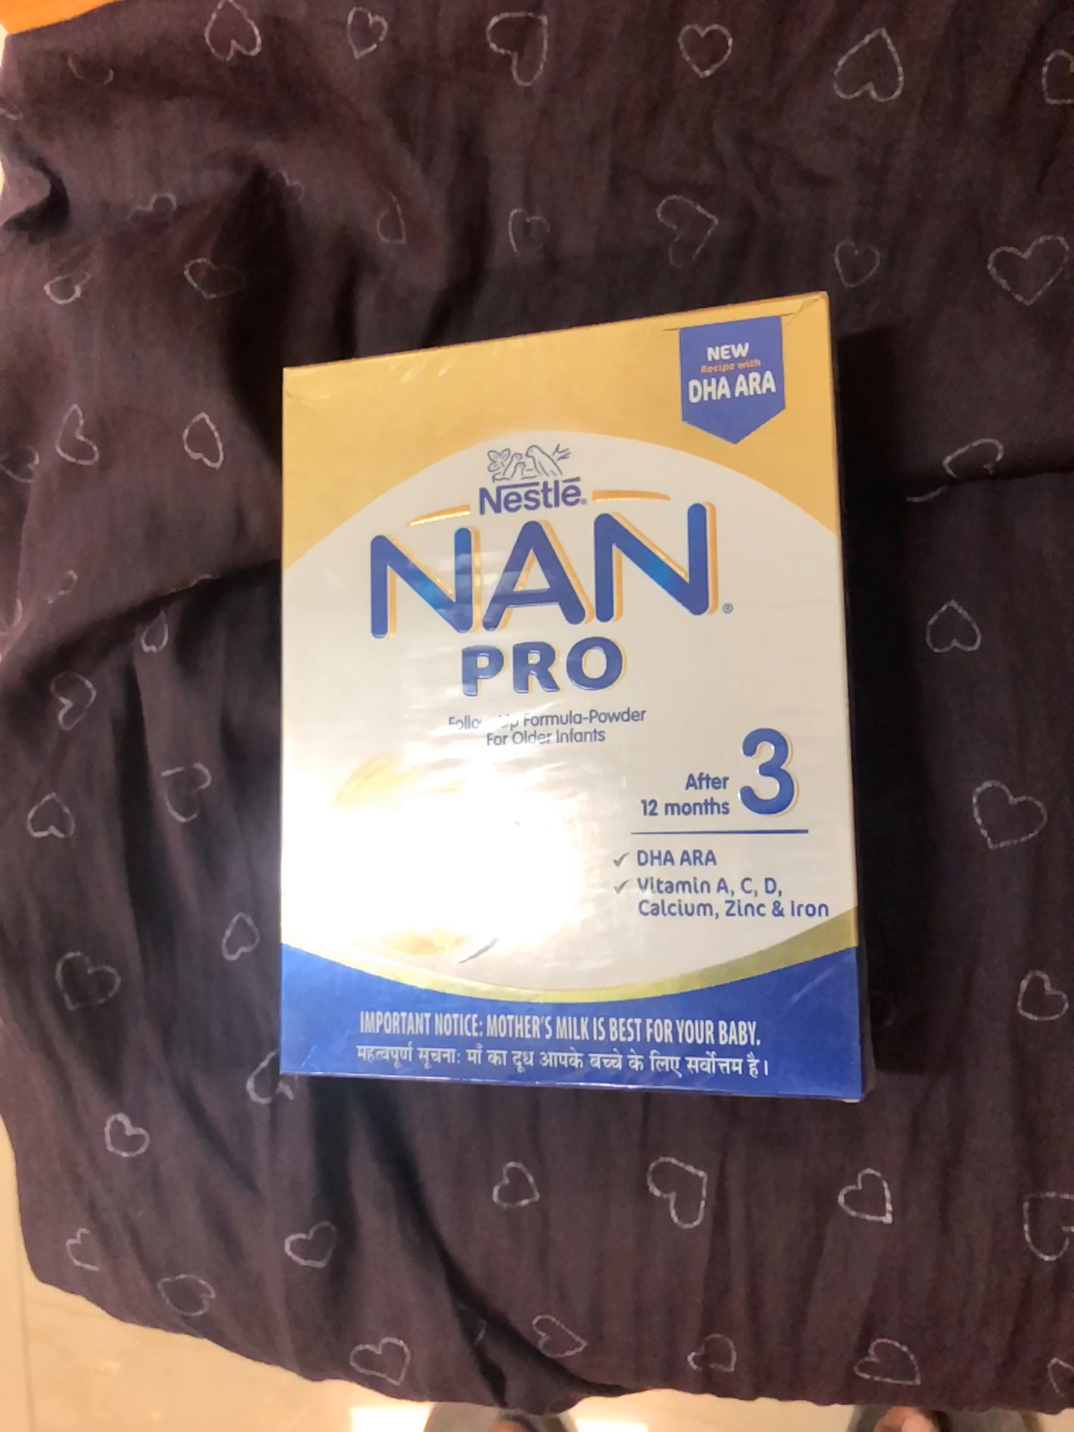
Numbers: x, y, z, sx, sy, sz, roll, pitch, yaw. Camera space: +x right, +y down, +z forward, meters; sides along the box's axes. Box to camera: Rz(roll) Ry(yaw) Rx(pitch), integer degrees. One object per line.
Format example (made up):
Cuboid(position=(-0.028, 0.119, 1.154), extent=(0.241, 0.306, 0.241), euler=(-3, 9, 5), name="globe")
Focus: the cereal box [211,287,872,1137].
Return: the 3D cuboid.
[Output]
Cuboid(position=(0.002, 0.002, 0.322), extent=(0.160, 0.070, 0.190), euler=(-3, 85, 17), name="cereal box")
